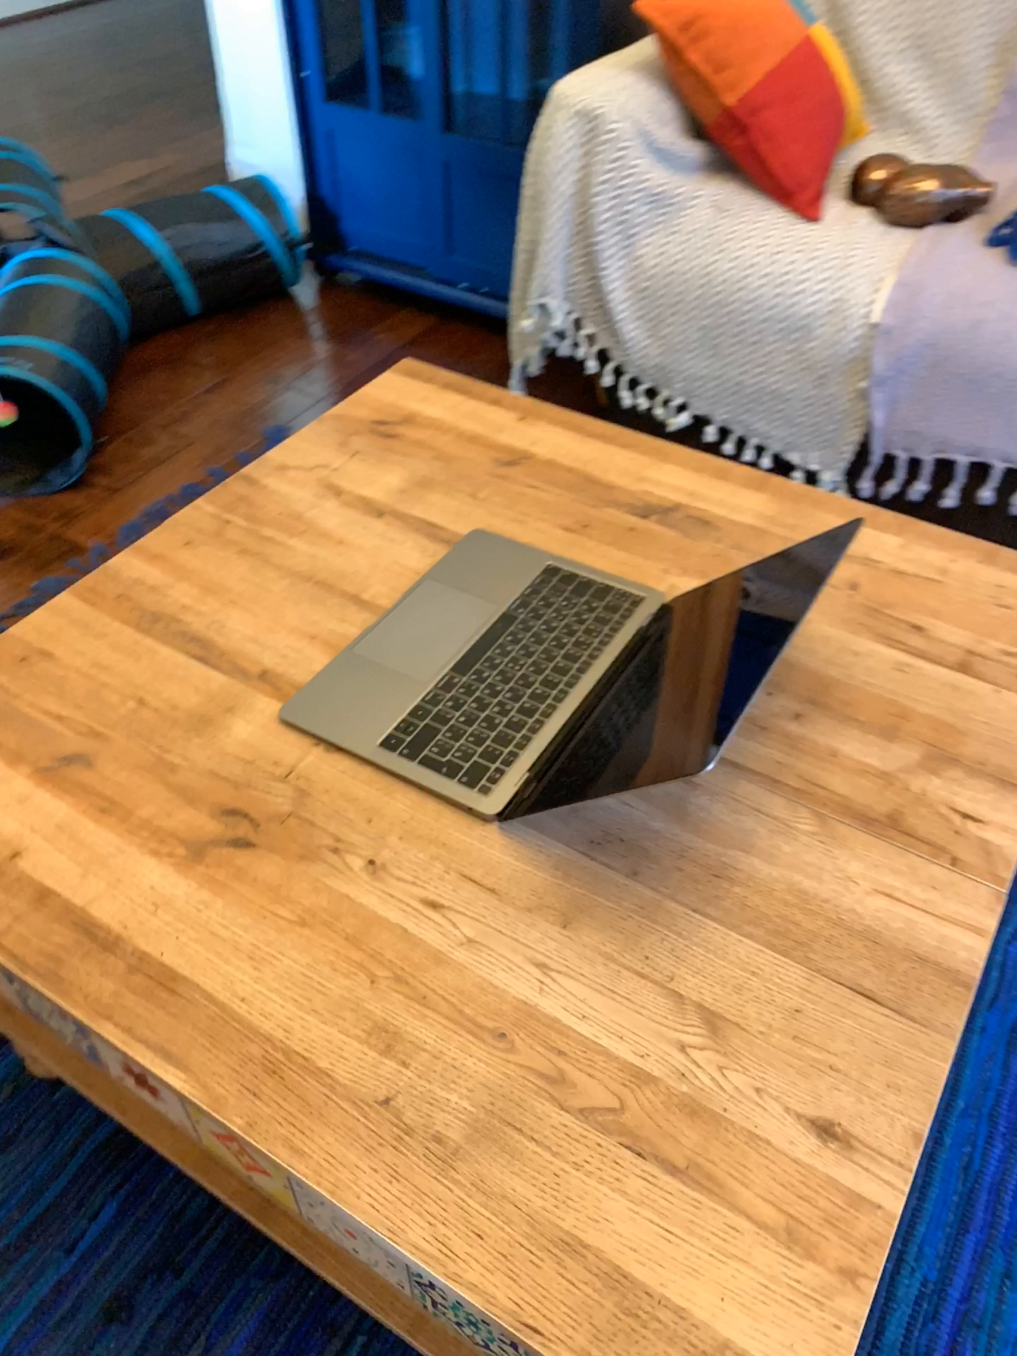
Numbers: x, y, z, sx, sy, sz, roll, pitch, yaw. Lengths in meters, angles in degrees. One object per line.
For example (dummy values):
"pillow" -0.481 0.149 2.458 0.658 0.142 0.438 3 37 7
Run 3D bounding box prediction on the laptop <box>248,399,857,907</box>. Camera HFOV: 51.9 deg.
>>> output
"laptop" 0.038 -0.046 0.816 0.353 0.141 0.291 23 48 23
